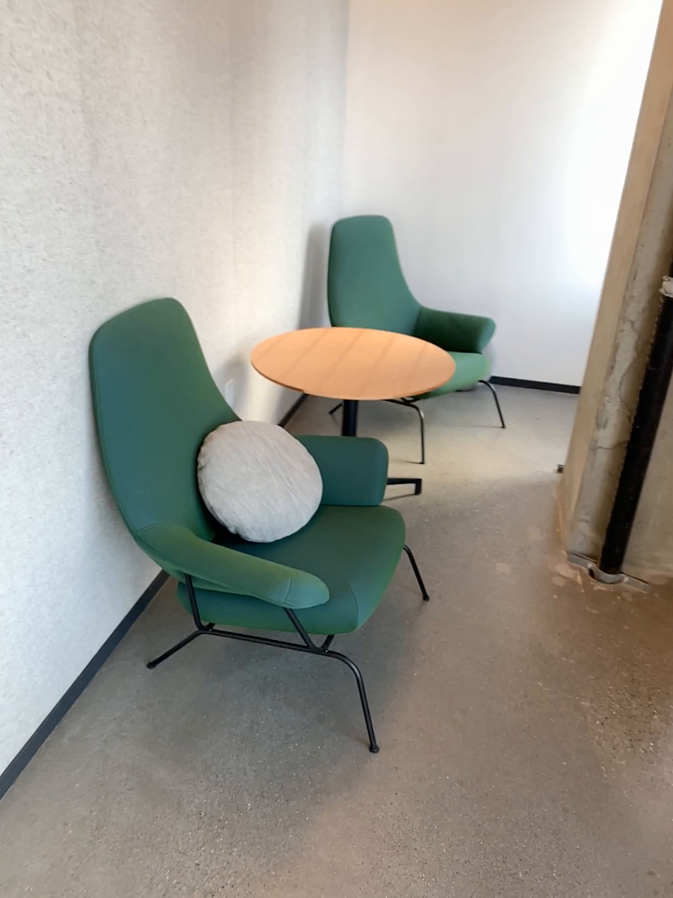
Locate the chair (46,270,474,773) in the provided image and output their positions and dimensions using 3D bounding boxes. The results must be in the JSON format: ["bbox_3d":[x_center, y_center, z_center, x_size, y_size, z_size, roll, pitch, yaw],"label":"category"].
[{"bbox_3d":[-0.145,0.126,2.024,0.851,1.034,0.834,10,27,14],"label":"chair"}]

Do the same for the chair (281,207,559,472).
[{"bbox_3d":[0.364,-0.619,3.458,0.822,0.954,1.004,-20,35,-39],"label":"chair"}]
